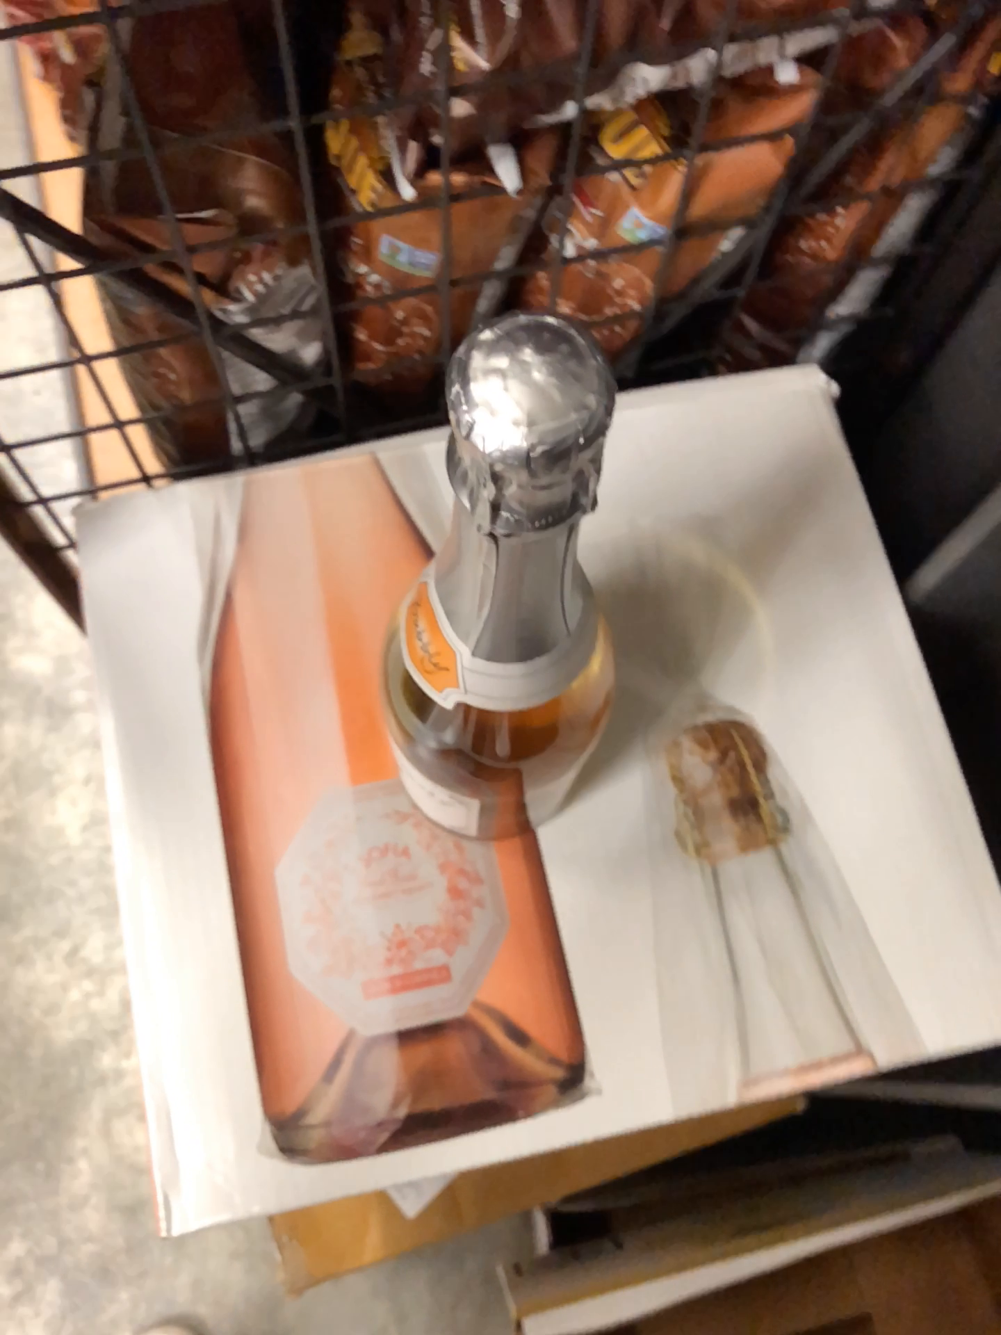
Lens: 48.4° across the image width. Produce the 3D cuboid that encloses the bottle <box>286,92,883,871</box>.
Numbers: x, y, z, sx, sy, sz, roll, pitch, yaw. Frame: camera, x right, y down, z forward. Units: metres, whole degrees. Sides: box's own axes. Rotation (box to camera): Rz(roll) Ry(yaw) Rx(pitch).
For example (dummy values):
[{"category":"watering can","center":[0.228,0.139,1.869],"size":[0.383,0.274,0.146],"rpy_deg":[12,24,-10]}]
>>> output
[{"category":"bottle","center":[0.007,-0.013,0.357],"size":[0.086,0.320,0.078],"rpy_deg":[-21,73,-10]}]
